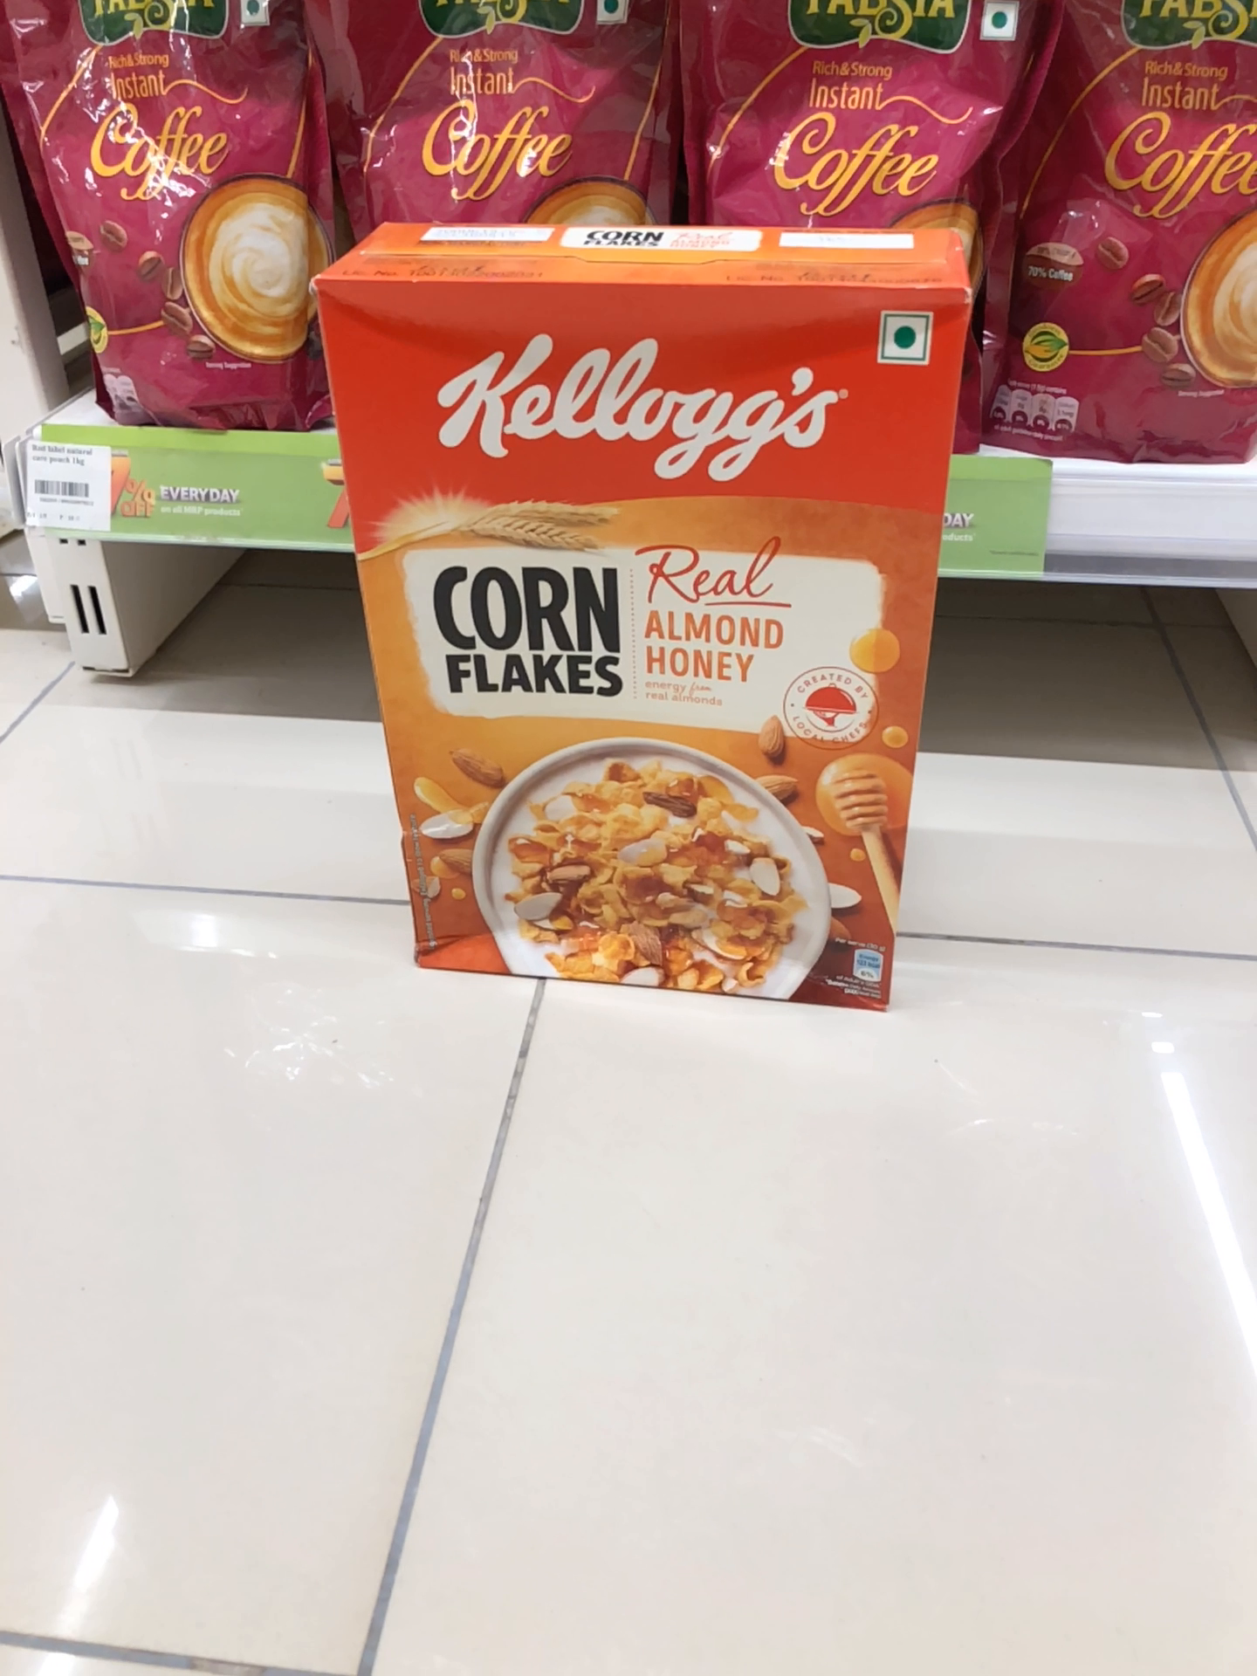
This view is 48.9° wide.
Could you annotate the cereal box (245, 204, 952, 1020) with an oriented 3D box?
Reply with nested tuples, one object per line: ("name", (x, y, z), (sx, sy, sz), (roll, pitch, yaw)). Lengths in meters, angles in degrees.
("cereal box", (-0.002, -0.072, 0.492), (0.200, 0.268, 0.081), (4, 34, 8))
